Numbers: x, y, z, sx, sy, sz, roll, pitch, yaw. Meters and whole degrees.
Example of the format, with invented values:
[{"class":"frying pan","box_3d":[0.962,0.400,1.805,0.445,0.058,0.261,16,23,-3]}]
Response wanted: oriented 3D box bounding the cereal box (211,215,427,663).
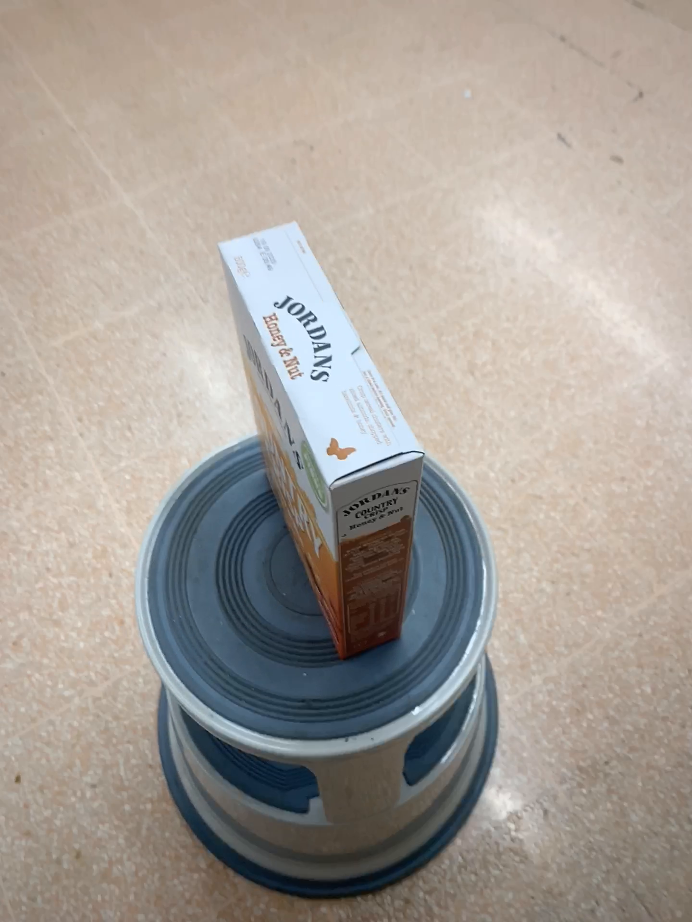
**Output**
[{"class":"cereal box","box_3d":[-0.020,0.004,0.474,0.050,0.258,0.181,-19,59,-12]}]
